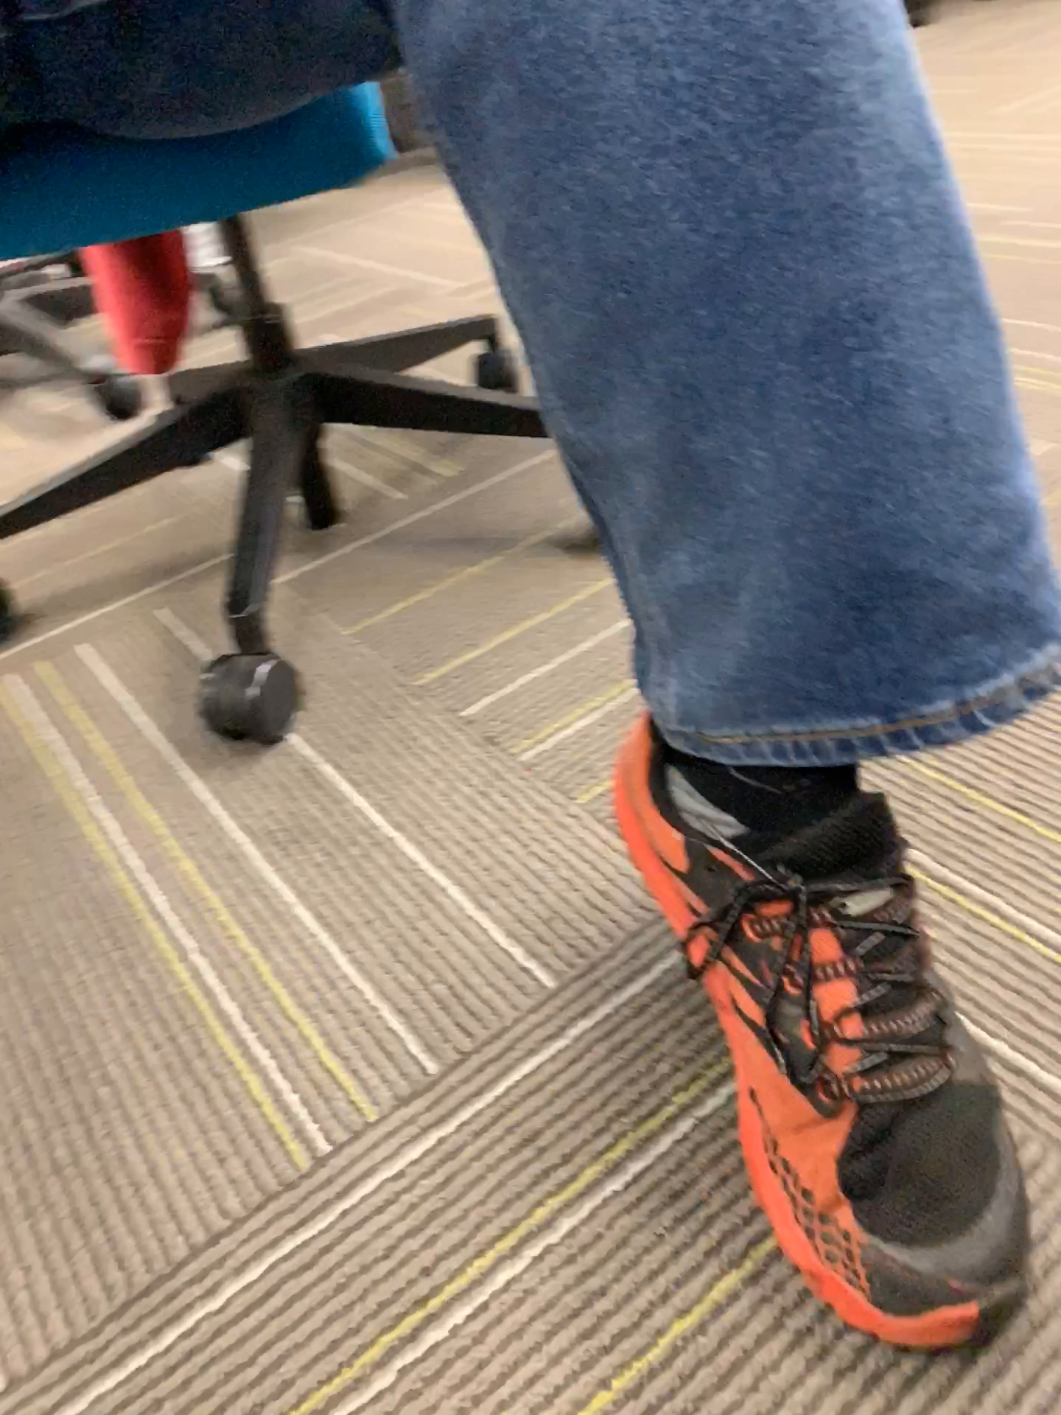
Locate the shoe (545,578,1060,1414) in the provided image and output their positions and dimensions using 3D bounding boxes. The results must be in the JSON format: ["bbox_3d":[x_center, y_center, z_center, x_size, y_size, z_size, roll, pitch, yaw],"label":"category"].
[{"bbox_3d":[0.116,0.110,0.477,0.126,0.106,0.316,-11,62,-13],"label":"shoe"}]
